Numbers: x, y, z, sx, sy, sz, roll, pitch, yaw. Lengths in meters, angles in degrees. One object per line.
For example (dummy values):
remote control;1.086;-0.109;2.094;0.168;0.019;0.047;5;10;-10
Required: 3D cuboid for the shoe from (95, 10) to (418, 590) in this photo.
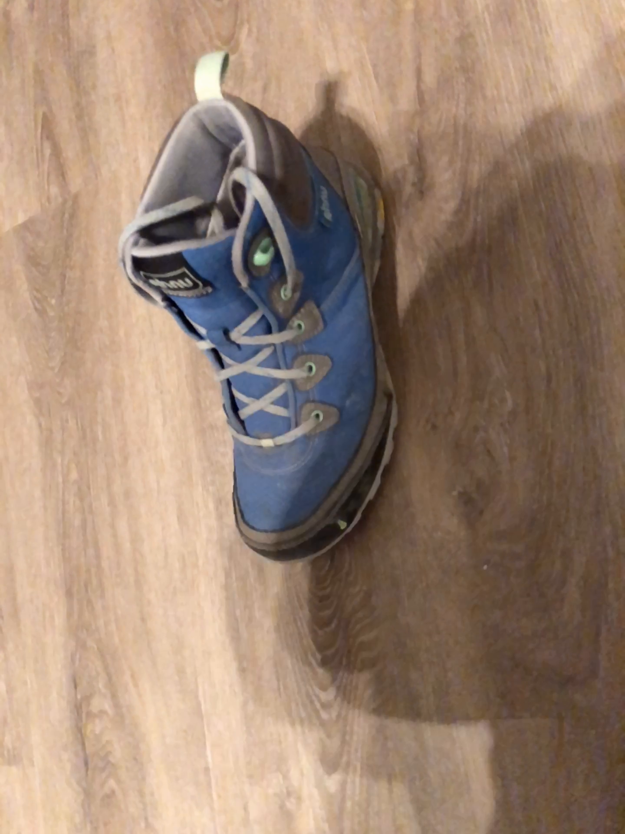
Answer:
shoe;-0.021;-0.049;0.381;0.100;0.139;0.250;2;87;31
